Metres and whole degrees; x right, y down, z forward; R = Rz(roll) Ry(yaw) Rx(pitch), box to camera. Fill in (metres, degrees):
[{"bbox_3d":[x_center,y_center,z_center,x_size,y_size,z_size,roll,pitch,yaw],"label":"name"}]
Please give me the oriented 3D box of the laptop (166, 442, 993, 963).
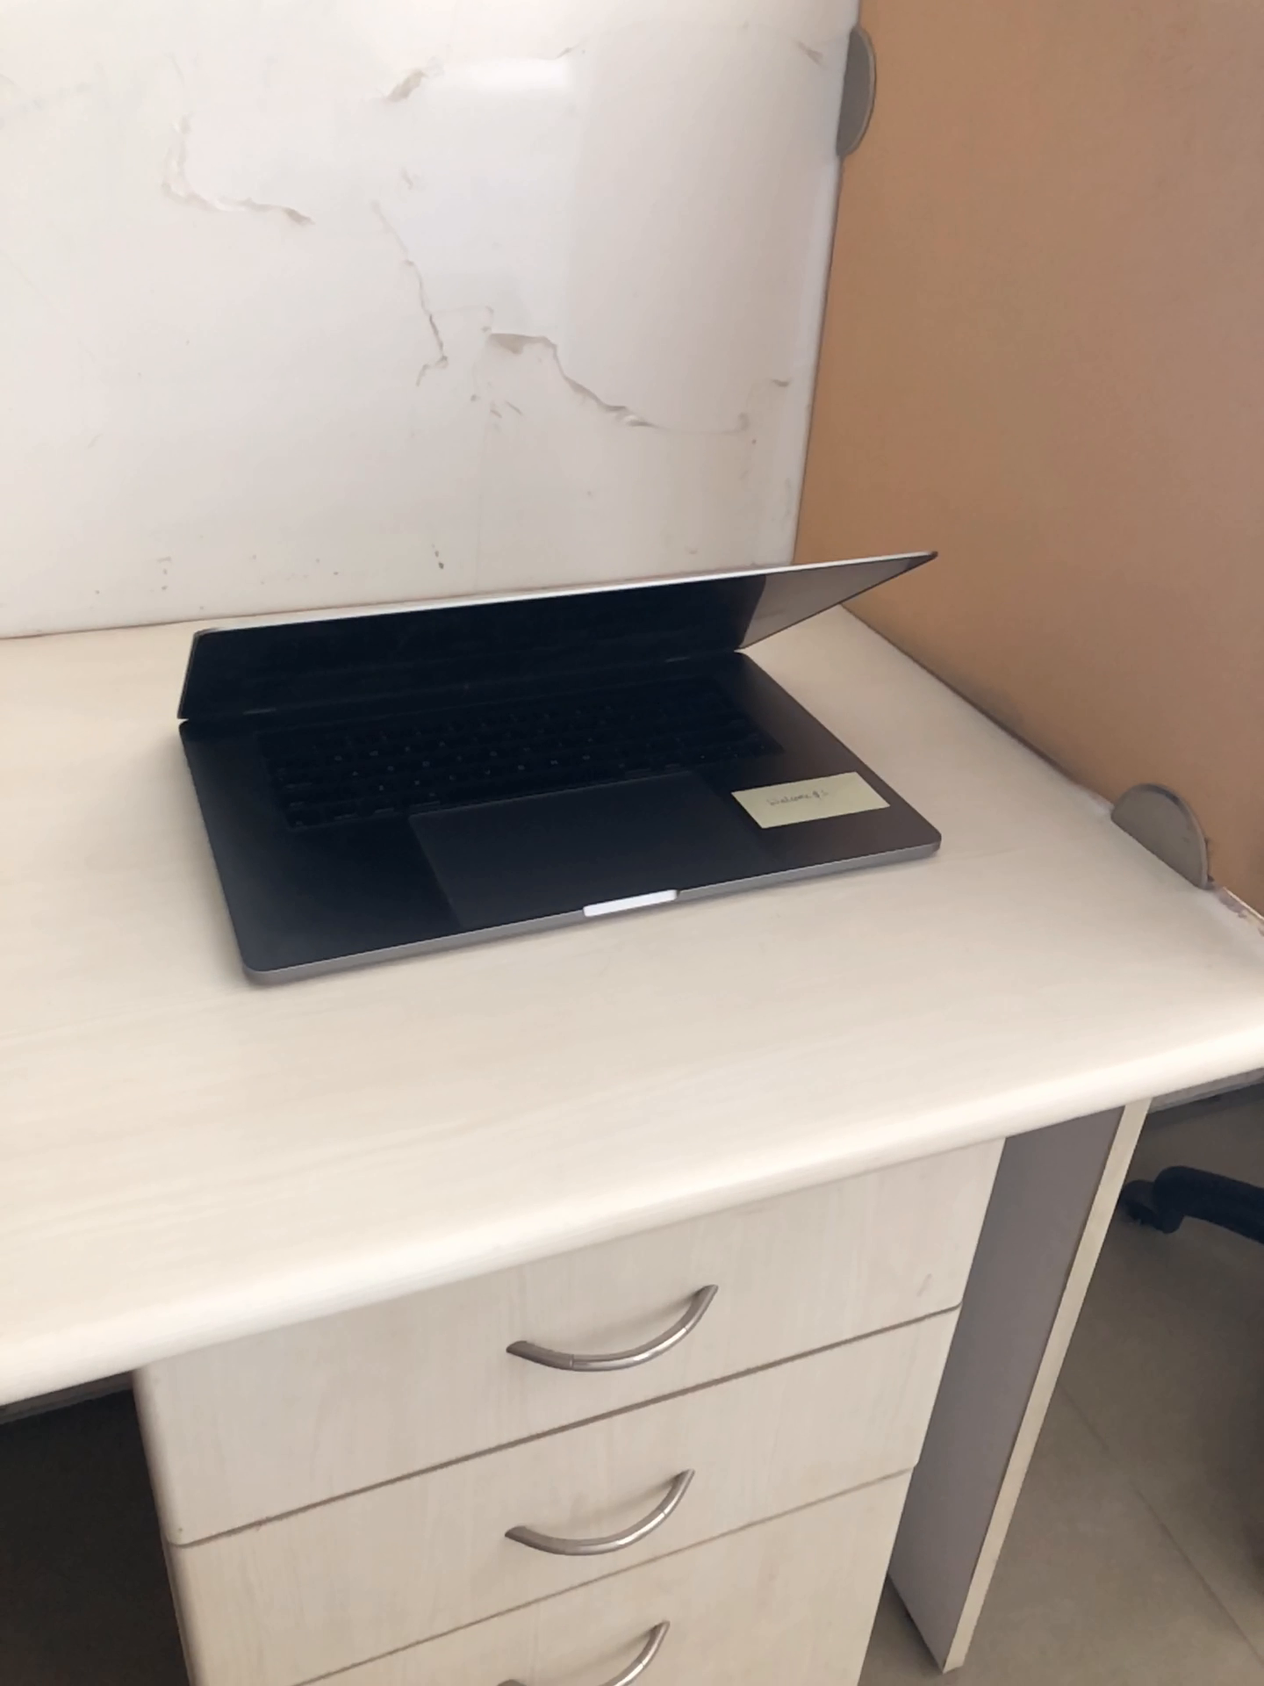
[{"bbox_3d":[-0.040,-0.091,0.681,0.330,0.133,0.234,-9,33,-20],"label":"laptop"}]
